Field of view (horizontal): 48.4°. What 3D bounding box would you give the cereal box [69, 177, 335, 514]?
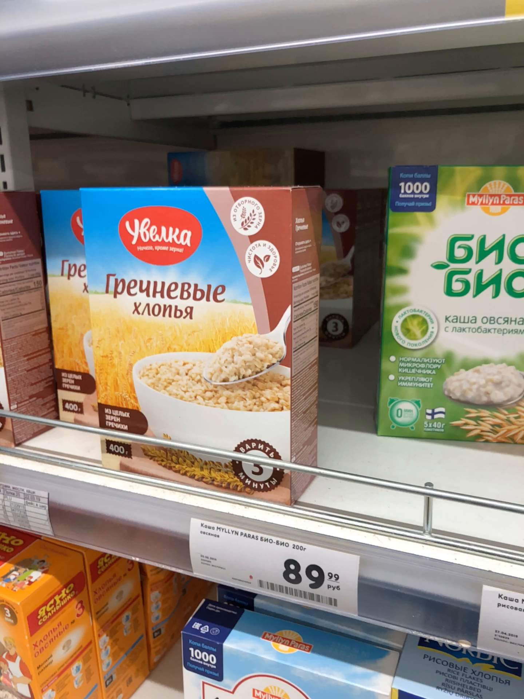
[{"bbox_3d":[-0.036,-0.010,0.375,0.150,0.189,0.060,6,15,24],"label":"cereal box"}]
